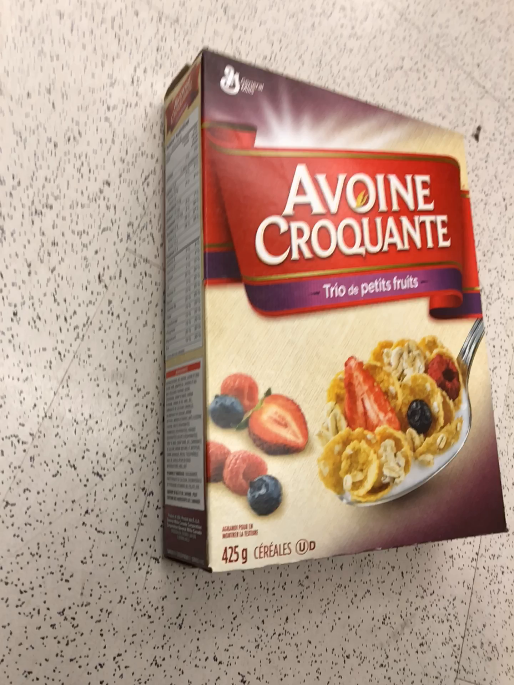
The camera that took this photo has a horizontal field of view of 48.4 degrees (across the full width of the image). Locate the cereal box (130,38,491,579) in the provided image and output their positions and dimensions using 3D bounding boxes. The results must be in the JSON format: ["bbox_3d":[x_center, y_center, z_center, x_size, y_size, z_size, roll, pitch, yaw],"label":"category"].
[{"bbox_3d":[0.035,-0.016,0.354,0.211,0.060,0.270,4,78,-29],"label":"cereal box"}]
